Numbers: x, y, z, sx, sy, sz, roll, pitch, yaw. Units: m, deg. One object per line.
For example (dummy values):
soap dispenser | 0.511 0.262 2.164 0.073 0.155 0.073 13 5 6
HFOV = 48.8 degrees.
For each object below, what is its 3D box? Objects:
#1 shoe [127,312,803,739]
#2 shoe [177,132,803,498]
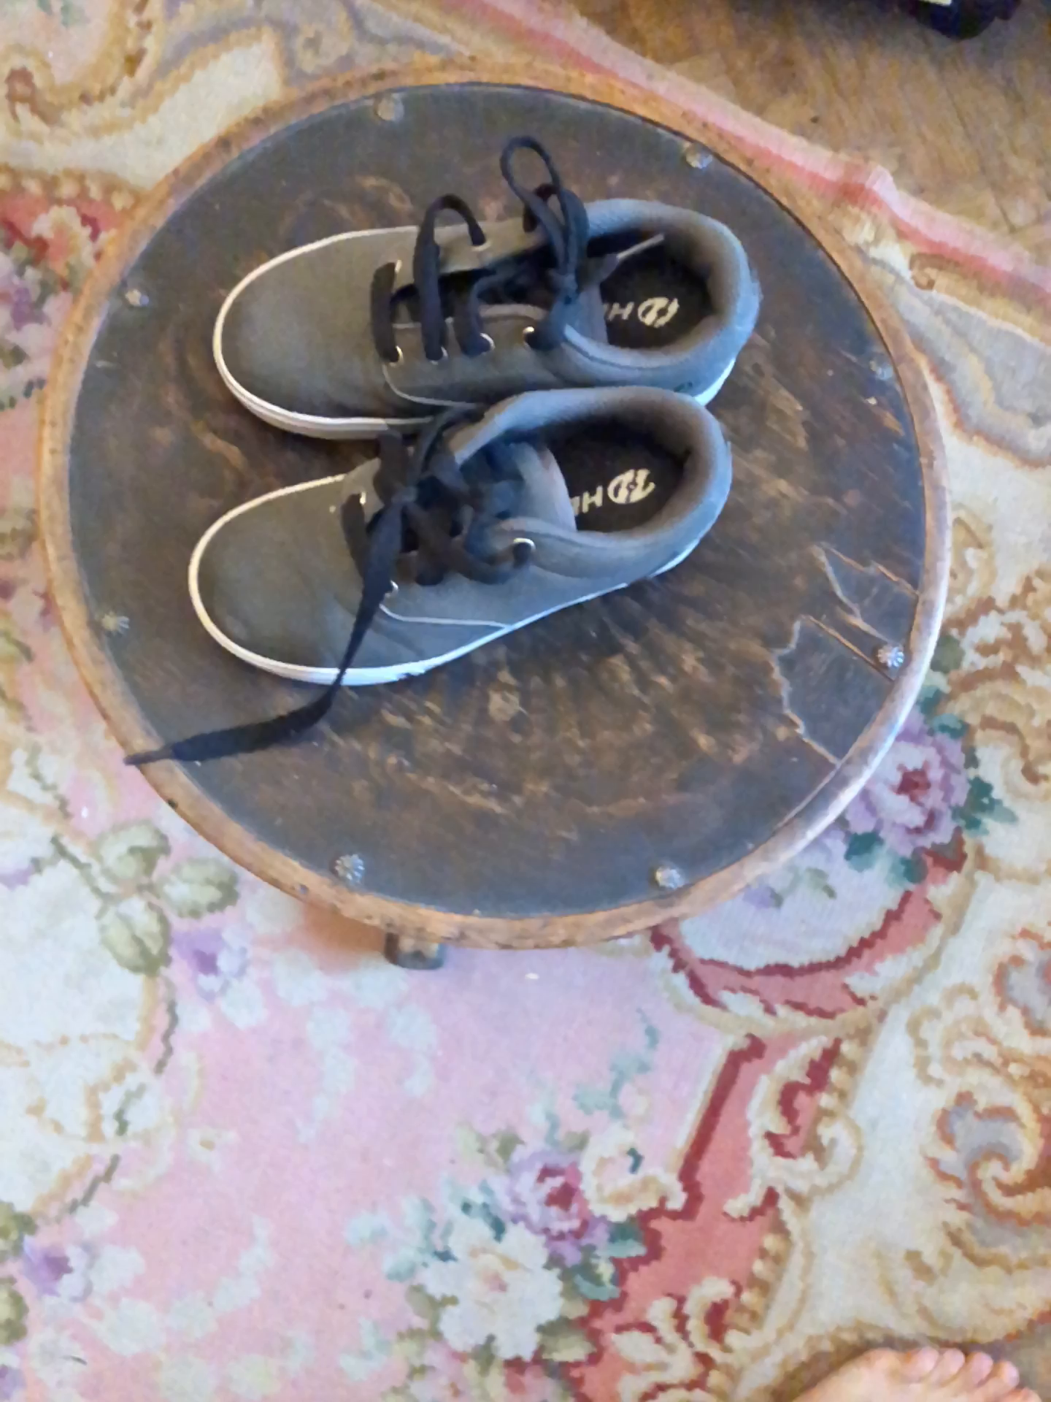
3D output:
shoe | -0.022 -0.061 0.440 0.211 0.100 0.090 -15 86 -7
shoe | -0.015 -0.147 0.456 0.211 0.100 0.090 -6 85 -6
